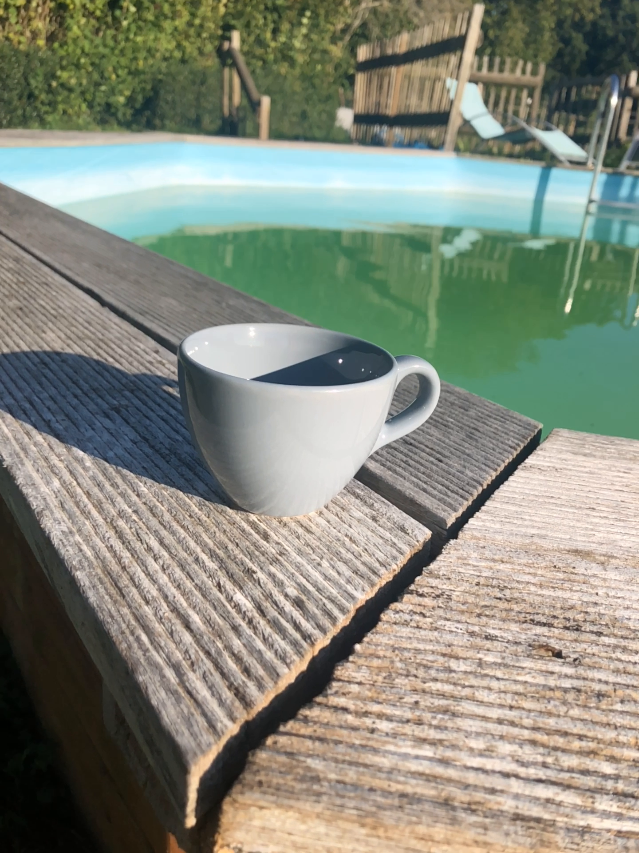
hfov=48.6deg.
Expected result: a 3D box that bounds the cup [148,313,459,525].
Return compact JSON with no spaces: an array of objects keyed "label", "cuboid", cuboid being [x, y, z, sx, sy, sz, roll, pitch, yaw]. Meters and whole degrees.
[{"label":"cup","cuboid":[-0.010,-0.007,0.289,0.105,0.052,0.091,2,23,-7]}]
